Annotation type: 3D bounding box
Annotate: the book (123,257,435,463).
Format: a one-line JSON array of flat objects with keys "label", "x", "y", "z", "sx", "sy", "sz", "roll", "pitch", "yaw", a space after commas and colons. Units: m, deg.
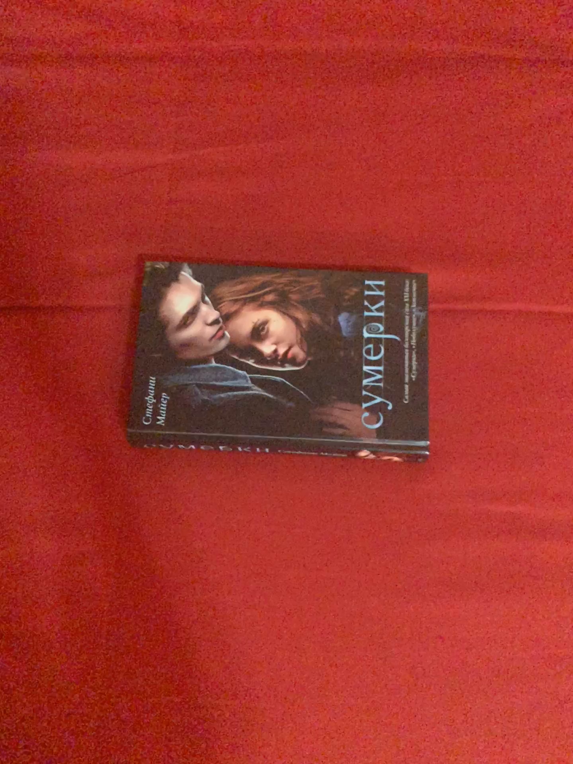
[{"label": "book", "x": -0.002, "y": -0.015, "z": 0.426, "sx": 0.209, "sy": 0.036, "sz": 0.134, "roll": 3, "pitch": 80, "yaw": 1}]
